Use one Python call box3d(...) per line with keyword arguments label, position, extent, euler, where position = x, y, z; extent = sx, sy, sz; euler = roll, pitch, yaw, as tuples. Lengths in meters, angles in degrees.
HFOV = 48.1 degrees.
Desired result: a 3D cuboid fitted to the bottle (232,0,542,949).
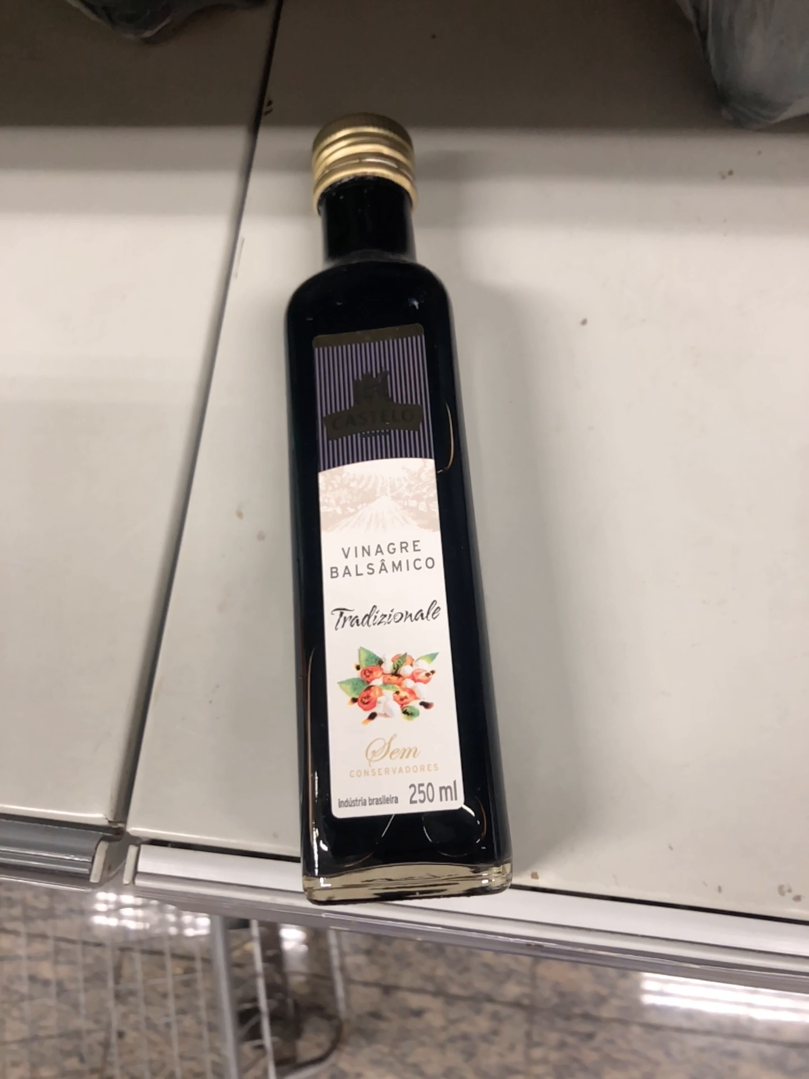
box3d(label="bottle", position=(-0.008, -0.028, 0.253), extent=(0.060, 0.060, 0.250), euler=(-6, 74, 5))
